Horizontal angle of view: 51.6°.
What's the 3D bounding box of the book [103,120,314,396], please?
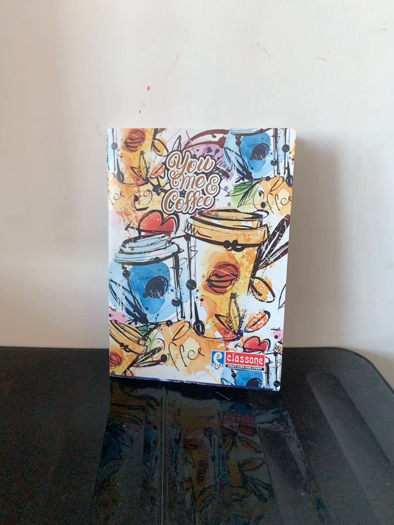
[{"bbox_3d":[0.006,-0.004,0.480,0.220,0.300,0.050,4,10,4],"label":"book"}]
